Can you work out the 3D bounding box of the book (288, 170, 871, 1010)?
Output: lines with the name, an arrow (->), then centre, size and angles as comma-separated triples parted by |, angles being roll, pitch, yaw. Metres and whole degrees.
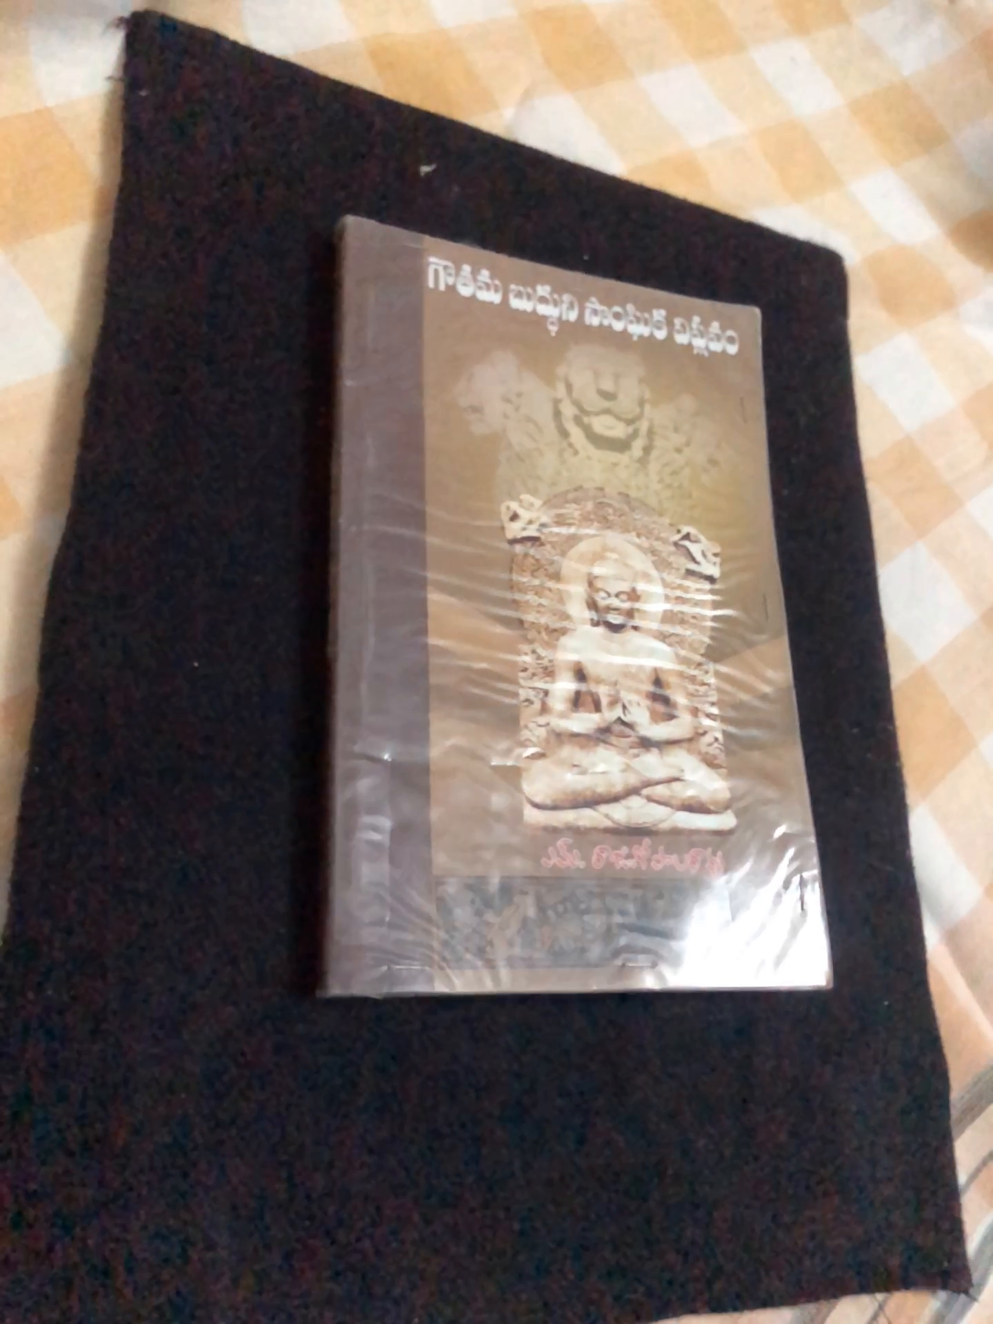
book -> 0.023, -0.023, 0.314 | 0.151, 0.020, 0.230 | 8, 66, -23
